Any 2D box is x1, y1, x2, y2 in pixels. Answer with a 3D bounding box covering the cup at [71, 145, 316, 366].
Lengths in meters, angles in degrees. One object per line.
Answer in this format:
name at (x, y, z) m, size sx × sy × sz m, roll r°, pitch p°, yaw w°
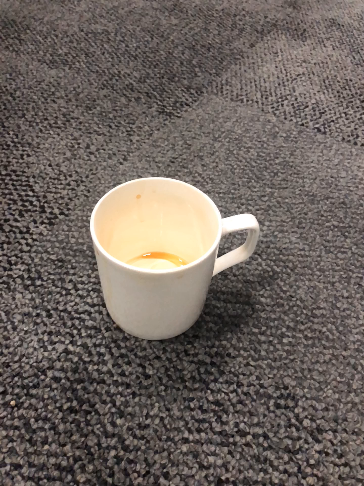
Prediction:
cup at (0.001, 0.005, 0.224) m, size 0.100 × 0.070 × 0.070 m, roll -15°, pitch 52°, yaw -16°
